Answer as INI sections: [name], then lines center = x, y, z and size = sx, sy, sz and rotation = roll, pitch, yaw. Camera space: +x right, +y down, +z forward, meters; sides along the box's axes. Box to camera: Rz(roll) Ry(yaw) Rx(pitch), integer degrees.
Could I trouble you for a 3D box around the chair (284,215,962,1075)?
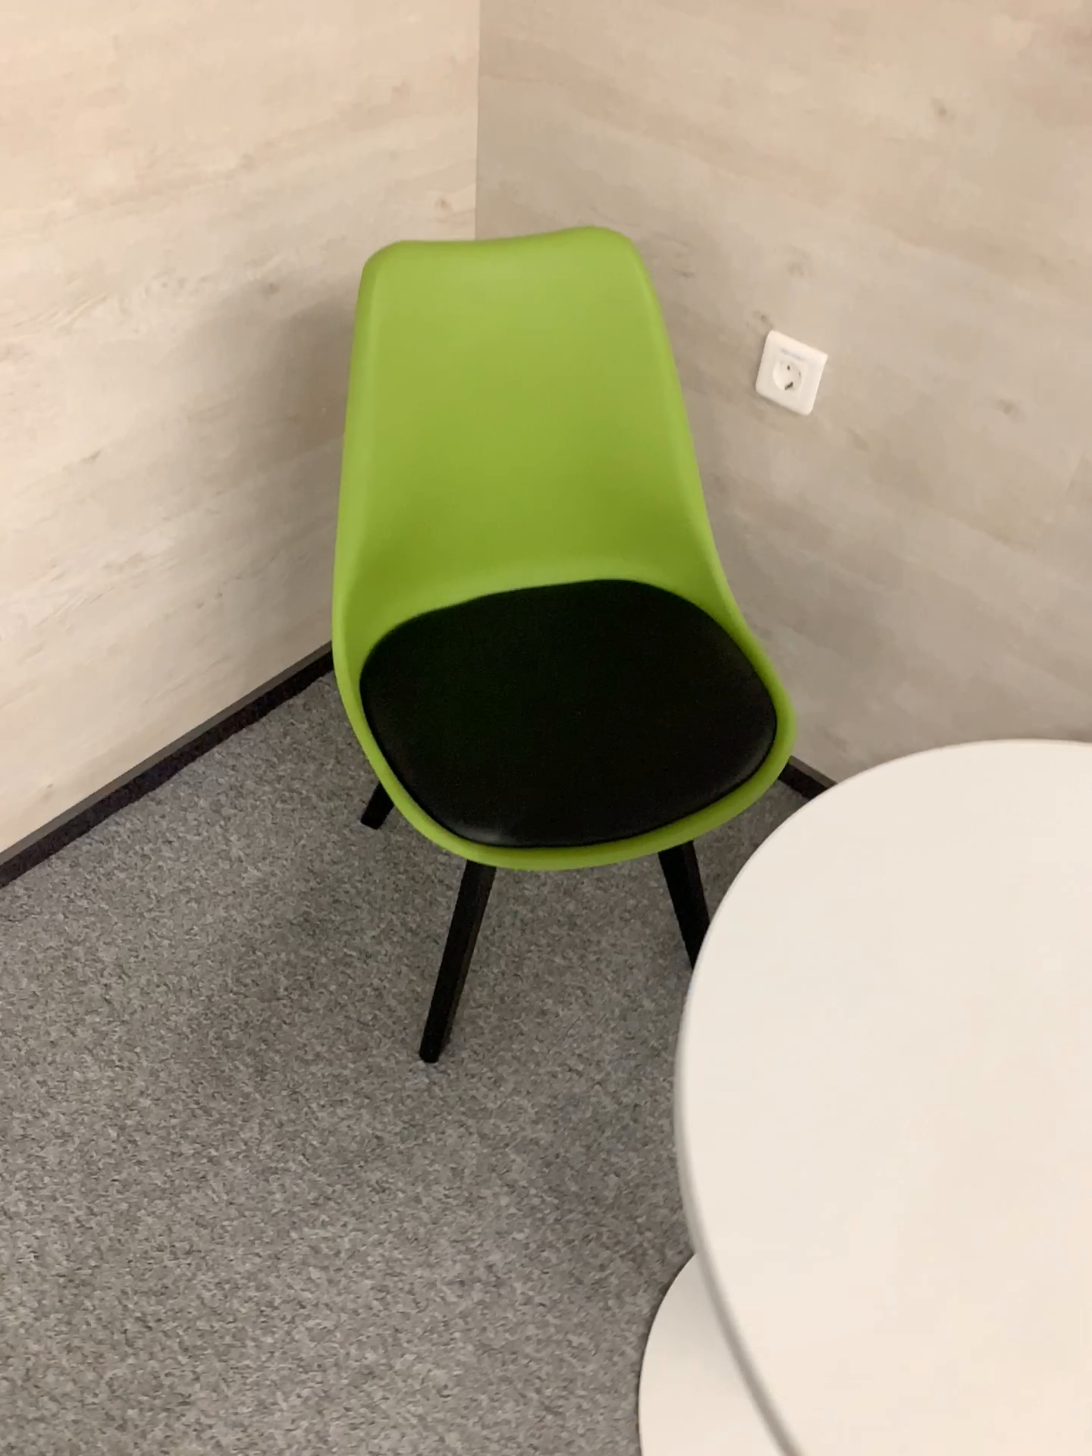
[chair]
center = 0.015, -0.064, 1.348
size = 0.491, 0.866, 0.482
rotation = -11, 49, -16
